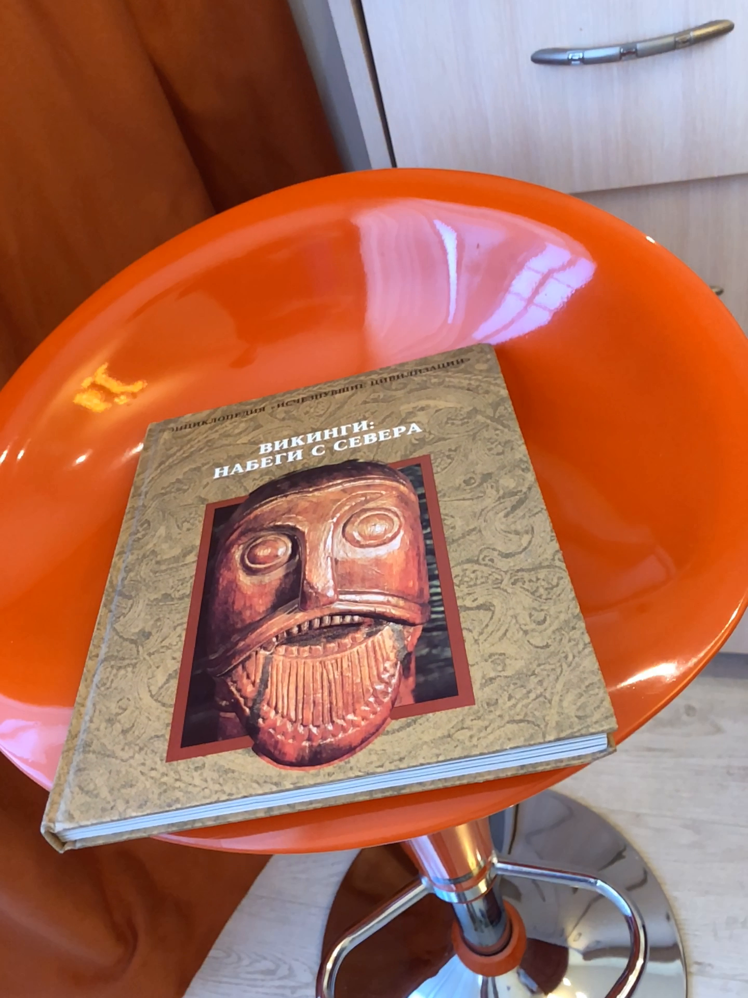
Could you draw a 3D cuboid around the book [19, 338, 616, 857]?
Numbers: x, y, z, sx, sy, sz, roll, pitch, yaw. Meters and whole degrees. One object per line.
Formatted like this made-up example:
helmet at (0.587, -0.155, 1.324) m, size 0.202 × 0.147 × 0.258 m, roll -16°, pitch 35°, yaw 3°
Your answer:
book at (-0.028, 0.022, 0.395) m, size 0.215 × 0.022 × 0.262 m, roll -12°, pitch 40°, yaw 7°
